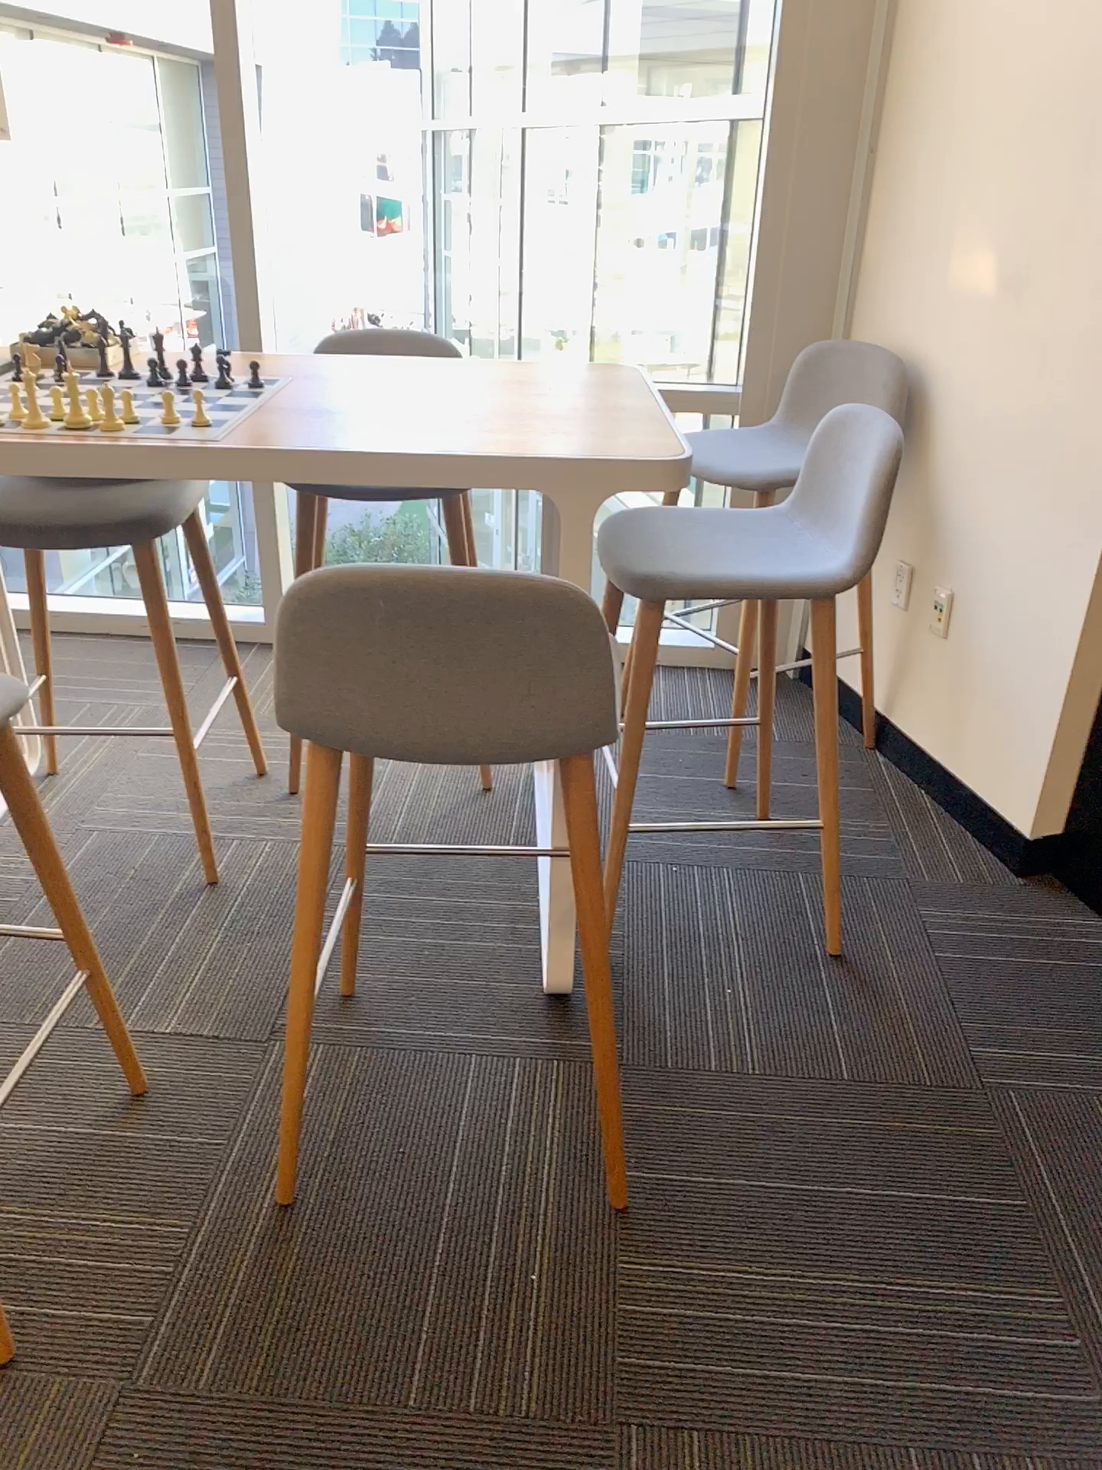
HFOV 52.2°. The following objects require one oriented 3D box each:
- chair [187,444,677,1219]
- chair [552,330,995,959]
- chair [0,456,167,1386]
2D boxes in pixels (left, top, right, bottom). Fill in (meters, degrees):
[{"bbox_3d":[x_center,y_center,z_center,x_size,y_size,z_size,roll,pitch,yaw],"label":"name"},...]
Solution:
[{"bbox_3d":[-0.139,0.128,1.606,0.500,0.935,0.553,2,27,-1],"label":"chair"},{"bbox_3d":[0.331,-0.214,2.232,0.620,0.994,0.785,2,27,-1],"label":"chair"},{"bbox_3d":[-0.907,0.206,1.386,0.550,0.935,0.553,4,27,4],"label":"chair"}]
